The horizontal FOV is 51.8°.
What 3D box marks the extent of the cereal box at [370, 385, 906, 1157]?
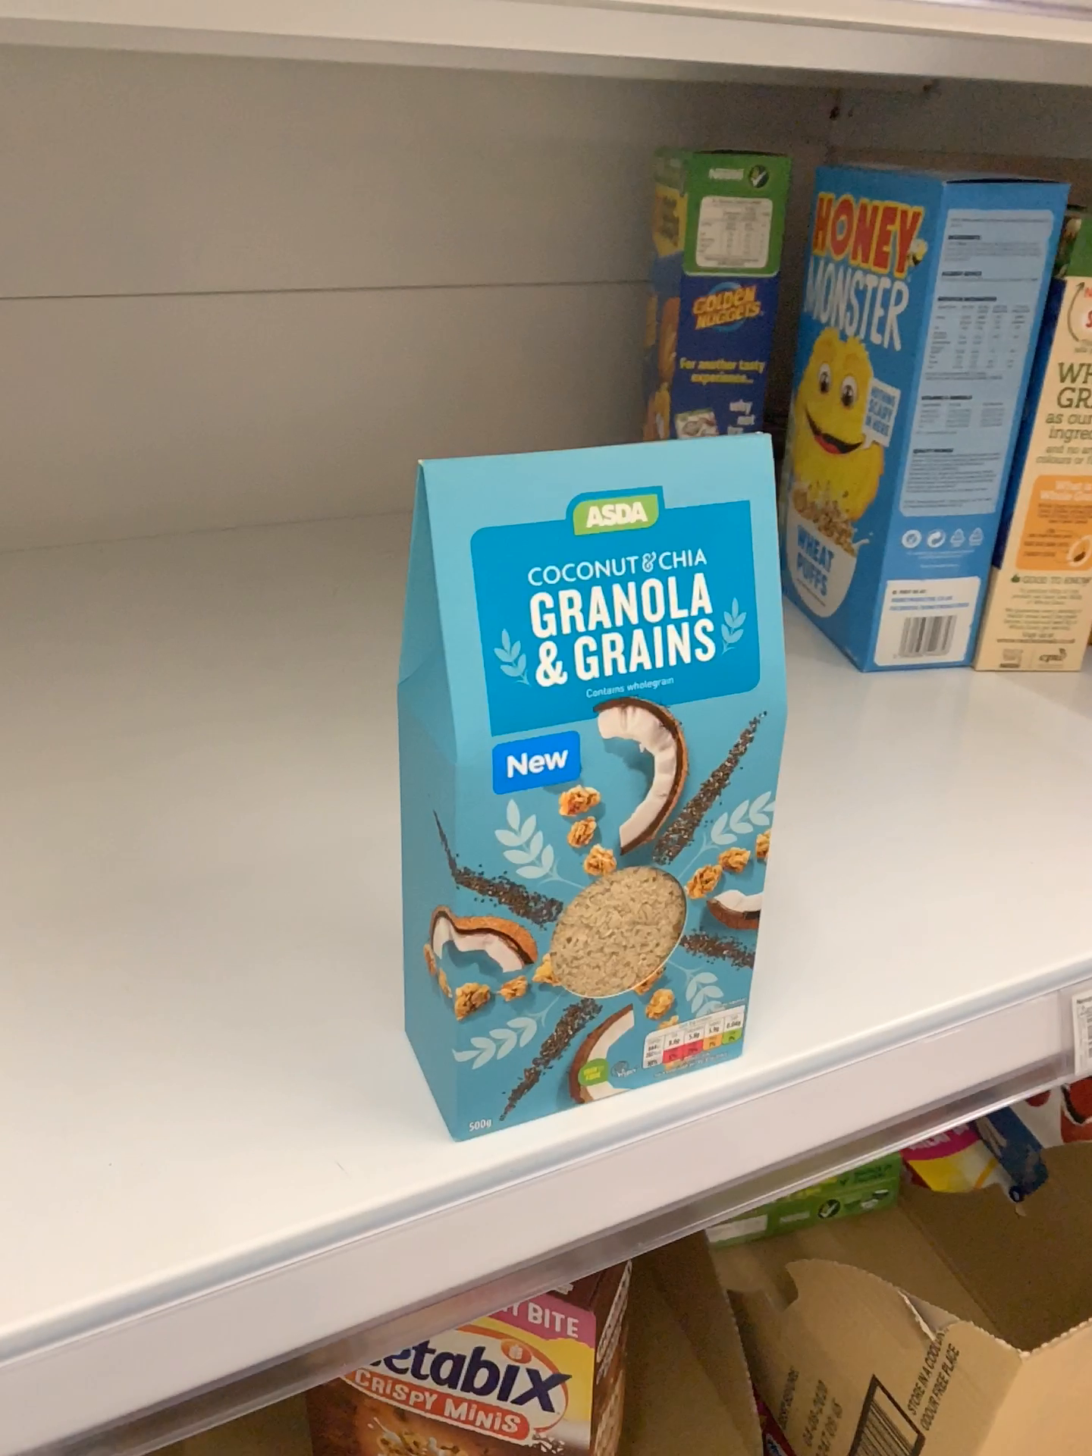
[{"bbox_3d":[0.022,0.015,0.384,0.140,0.238,0.070,-9,30,-20],"label":"cereal box"}]
